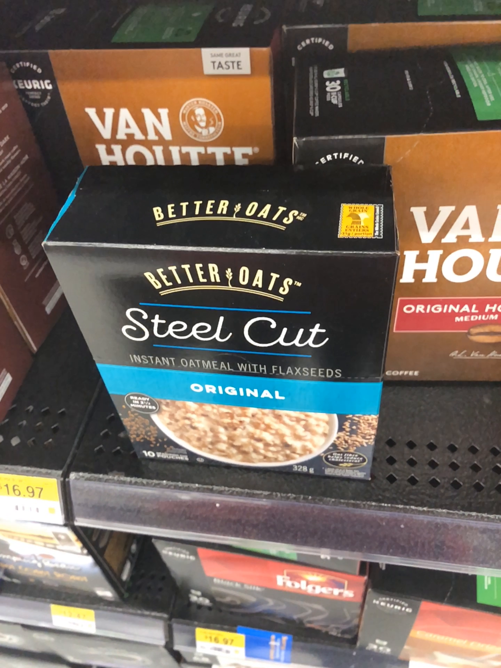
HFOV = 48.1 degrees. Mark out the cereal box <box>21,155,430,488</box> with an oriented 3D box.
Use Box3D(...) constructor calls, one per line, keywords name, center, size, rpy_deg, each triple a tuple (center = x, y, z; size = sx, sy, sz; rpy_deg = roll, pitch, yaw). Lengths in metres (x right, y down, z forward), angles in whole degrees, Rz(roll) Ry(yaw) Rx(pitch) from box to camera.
Box3D(name="cereal box", center=(-0.002, 0.005, 0.289), size=(0.150, 0.179, 0.060), rpy_deg=(3, 50, 8))
